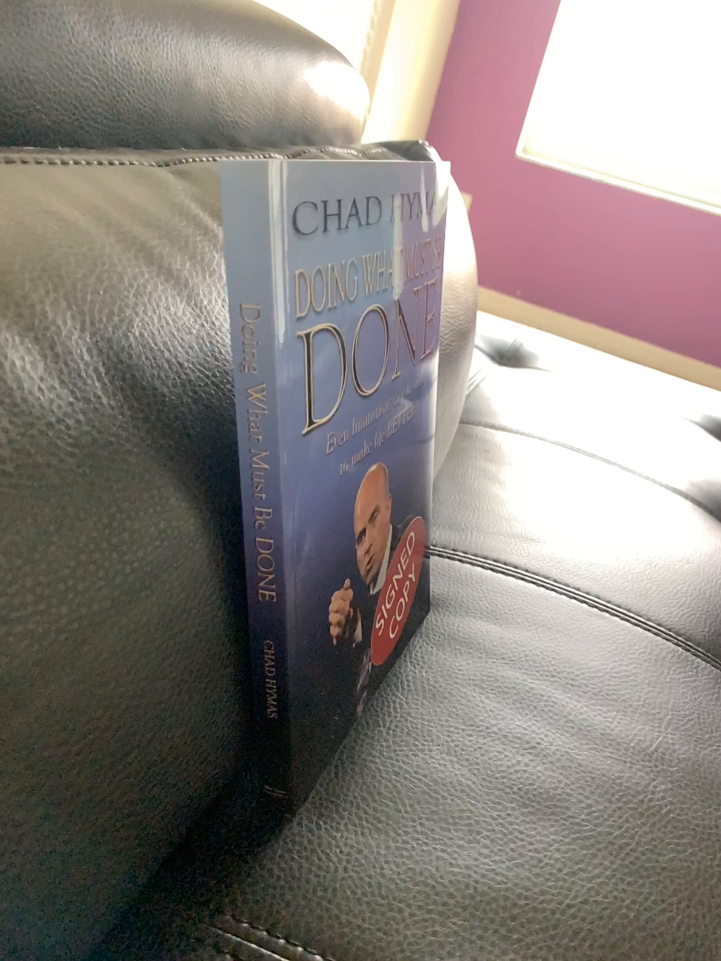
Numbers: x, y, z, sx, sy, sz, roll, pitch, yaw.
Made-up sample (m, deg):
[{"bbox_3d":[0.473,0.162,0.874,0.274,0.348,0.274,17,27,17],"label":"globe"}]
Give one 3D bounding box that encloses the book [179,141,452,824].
[{"bbox_3d":[-0.003,-0.010,0.301,0.025,0.225,0.158,8,23,23],"label":"book"}]
